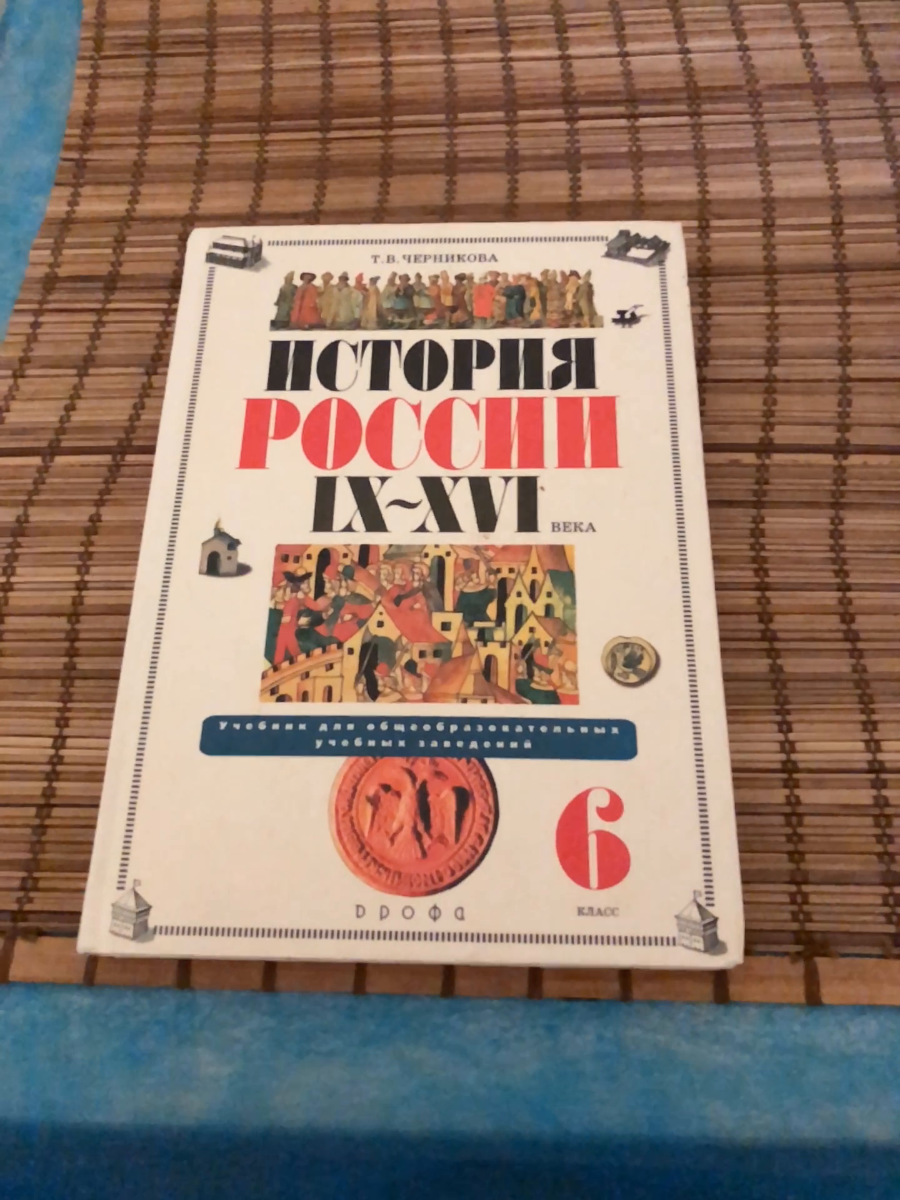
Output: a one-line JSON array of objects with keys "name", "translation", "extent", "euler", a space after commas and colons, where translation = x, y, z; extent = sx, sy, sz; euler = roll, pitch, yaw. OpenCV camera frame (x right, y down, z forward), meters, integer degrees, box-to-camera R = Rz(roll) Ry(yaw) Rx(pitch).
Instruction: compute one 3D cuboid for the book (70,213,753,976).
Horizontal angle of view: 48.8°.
[{"name": "book", "translation": [-0.007, -0.015, 0.307], "extent": [0.169, 0.029, 0.241], "euler": [0, 66, 4]}]
